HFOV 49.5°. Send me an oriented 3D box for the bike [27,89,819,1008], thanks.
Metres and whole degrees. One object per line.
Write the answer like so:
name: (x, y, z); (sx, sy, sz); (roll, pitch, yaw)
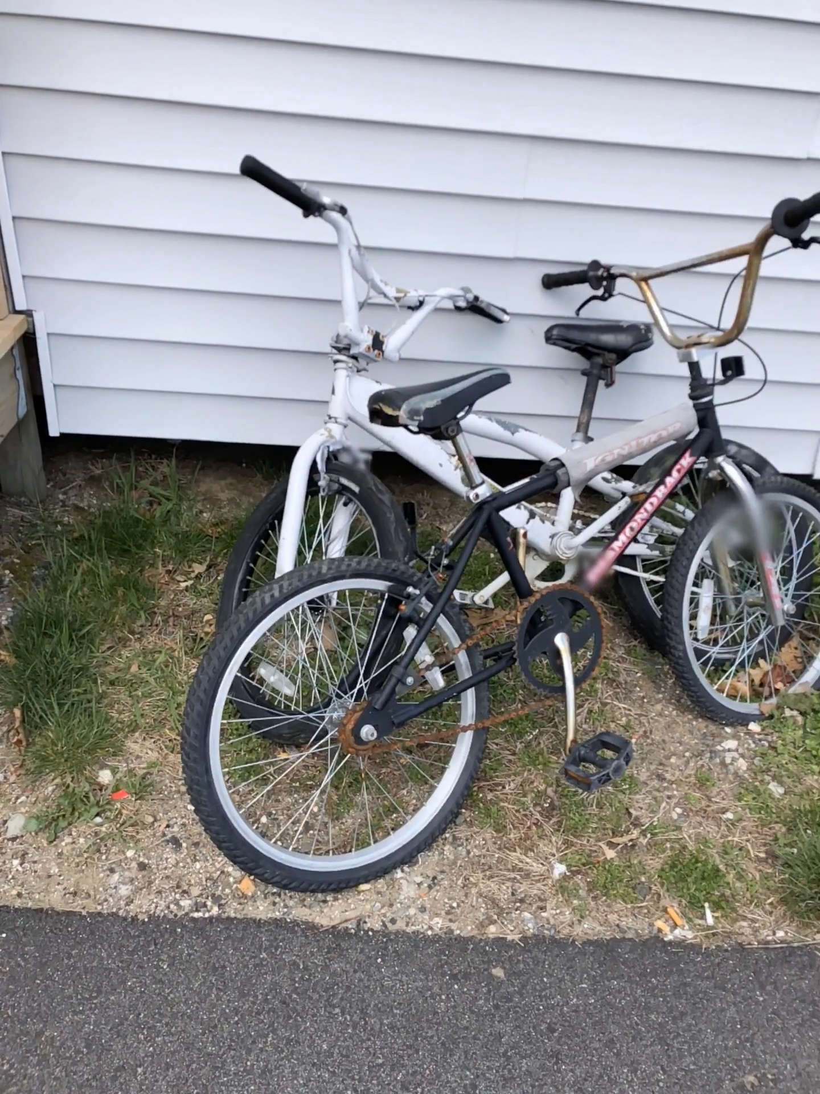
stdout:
bike: (0.213, -0.149, 1.448); (1.298, 0.932, 0.759); (-16, 39, -27)
